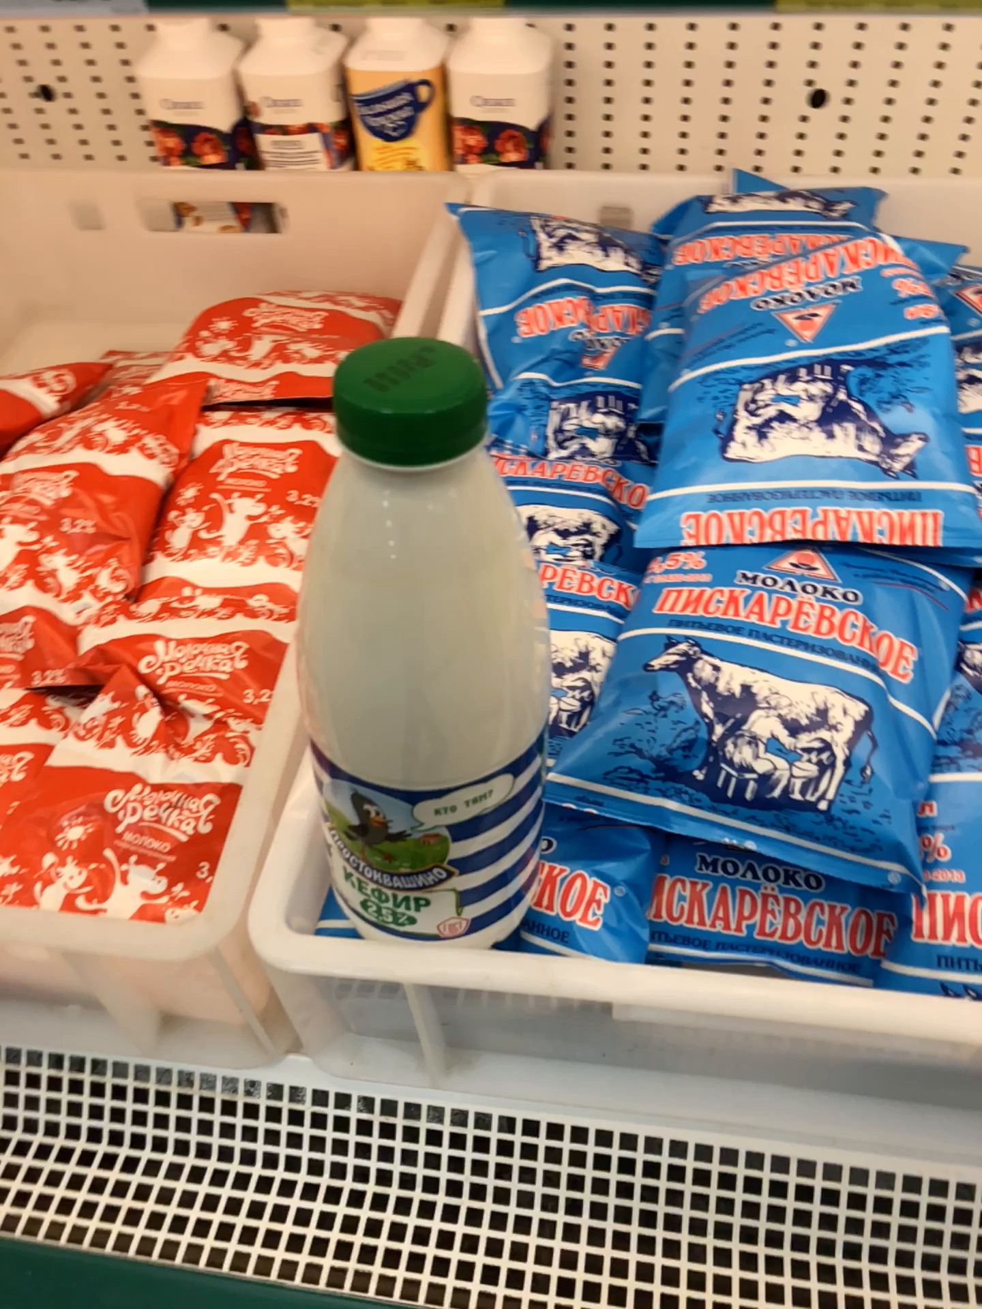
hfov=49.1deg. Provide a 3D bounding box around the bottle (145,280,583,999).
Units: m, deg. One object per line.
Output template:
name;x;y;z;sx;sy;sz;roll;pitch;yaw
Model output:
bottle;-0.024;0.009;0.345;0.083;0.224;0.080;-1;45;1
